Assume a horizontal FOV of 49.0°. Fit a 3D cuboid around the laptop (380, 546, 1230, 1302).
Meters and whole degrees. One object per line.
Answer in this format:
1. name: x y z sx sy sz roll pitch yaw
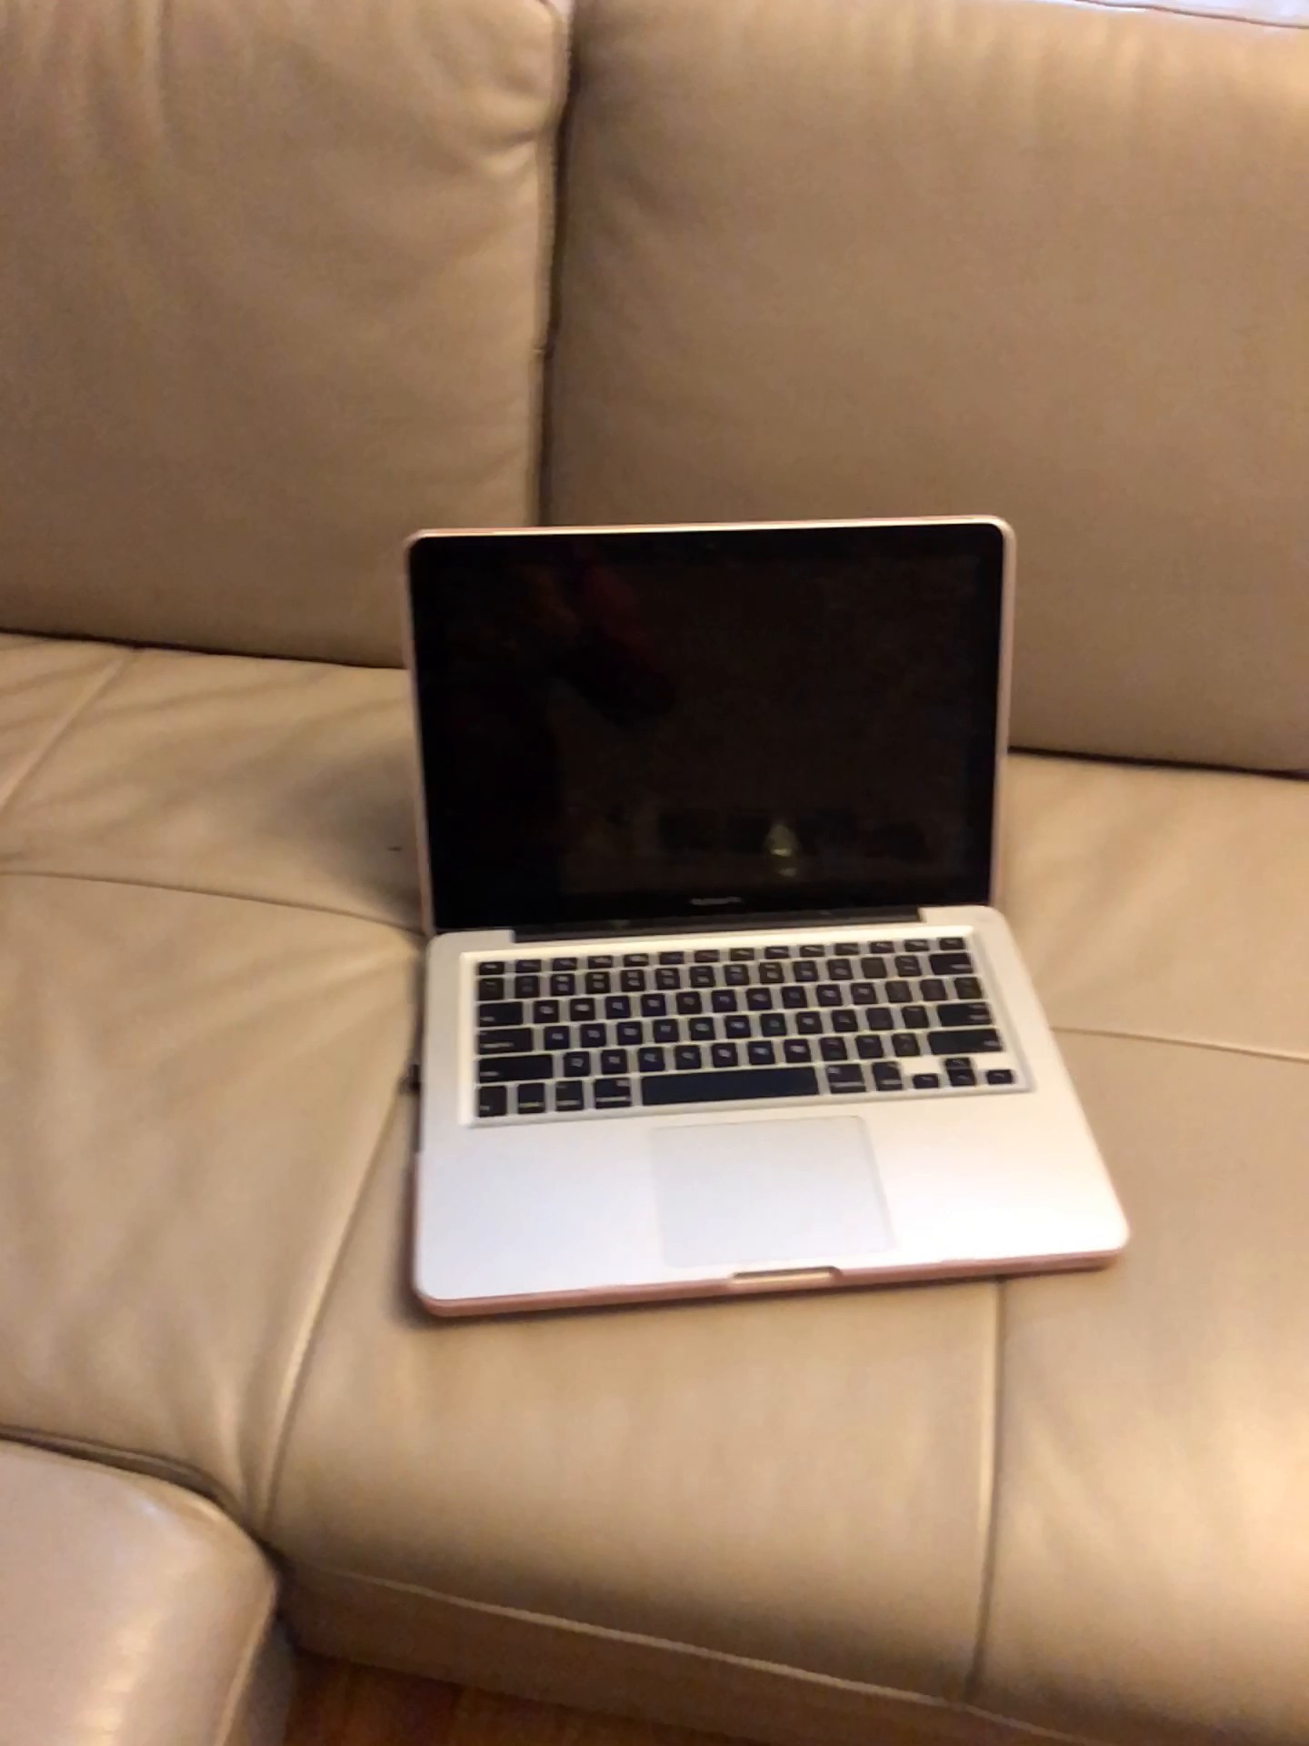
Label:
1. laptop: 0.045 0.007 0.690 0.308 0.166 0.324 -3 45 -4
